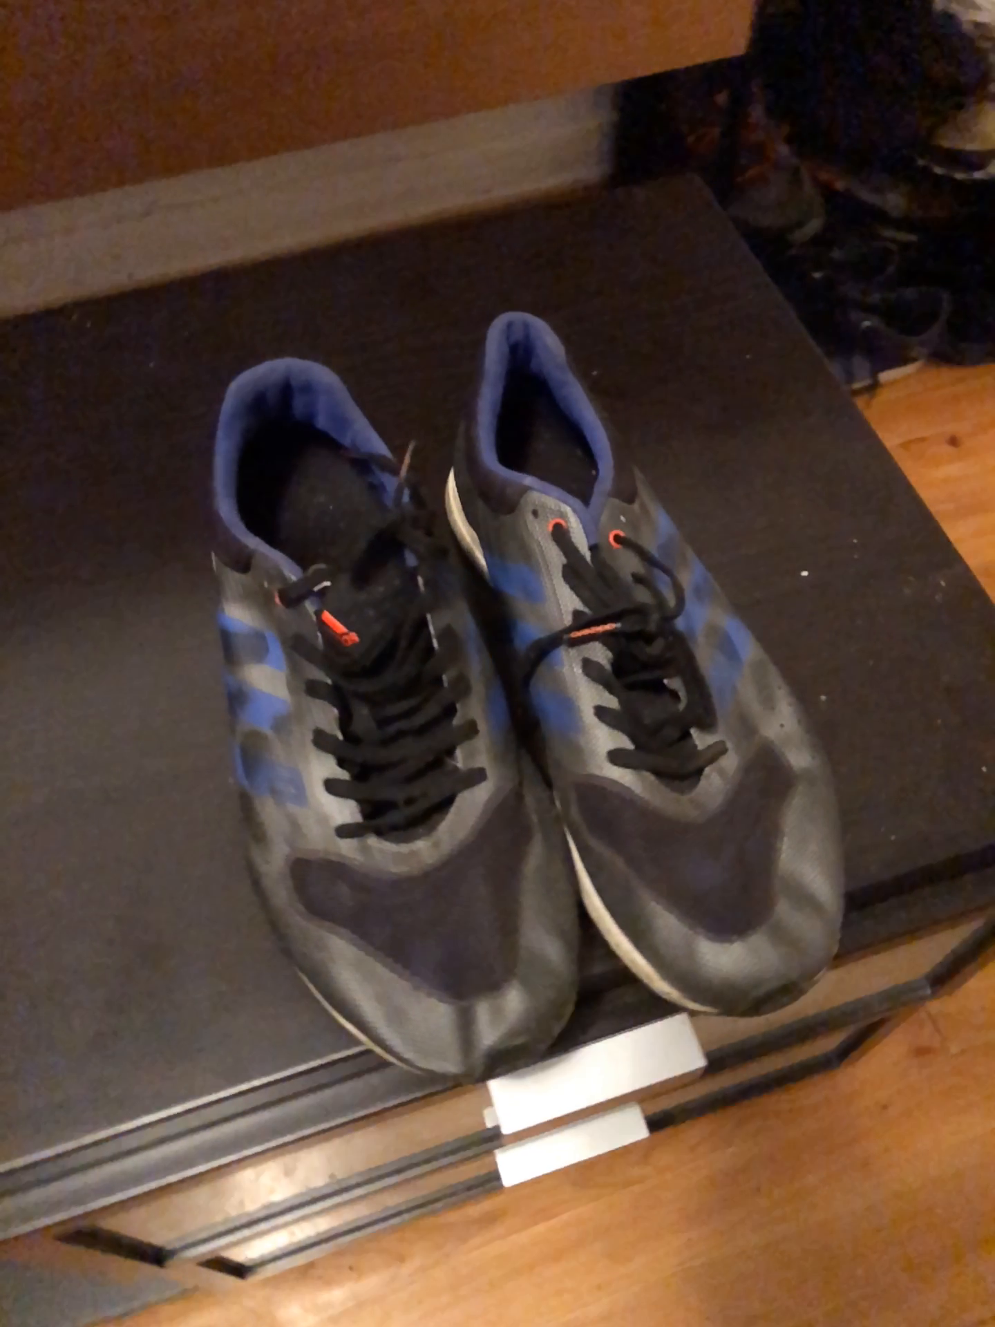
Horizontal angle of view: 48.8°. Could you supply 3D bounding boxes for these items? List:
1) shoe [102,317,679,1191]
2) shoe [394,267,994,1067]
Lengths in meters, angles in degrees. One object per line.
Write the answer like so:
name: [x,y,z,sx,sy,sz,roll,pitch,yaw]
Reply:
shoe: [-0.049,0.012,0.371,0.110,0.080,0.272,-16,58,-10]
shoe: [0.056,-0.020,0.420,0.110,0.070,0.302,-16,58,-10]
